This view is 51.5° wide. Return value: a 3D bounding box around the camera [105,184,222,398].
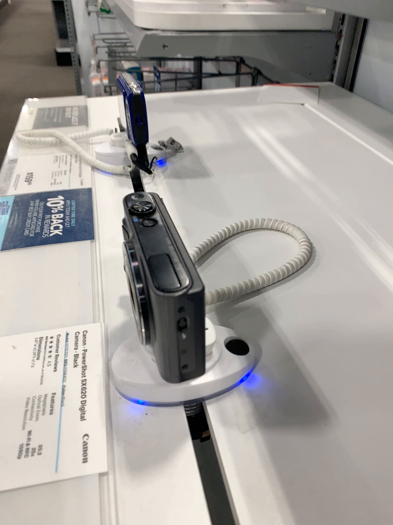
[{"bbox_3d":[-0.021,0.007,0.205,0.031,0.050,0.100,-10,39,-14],"label":"camera"}]
